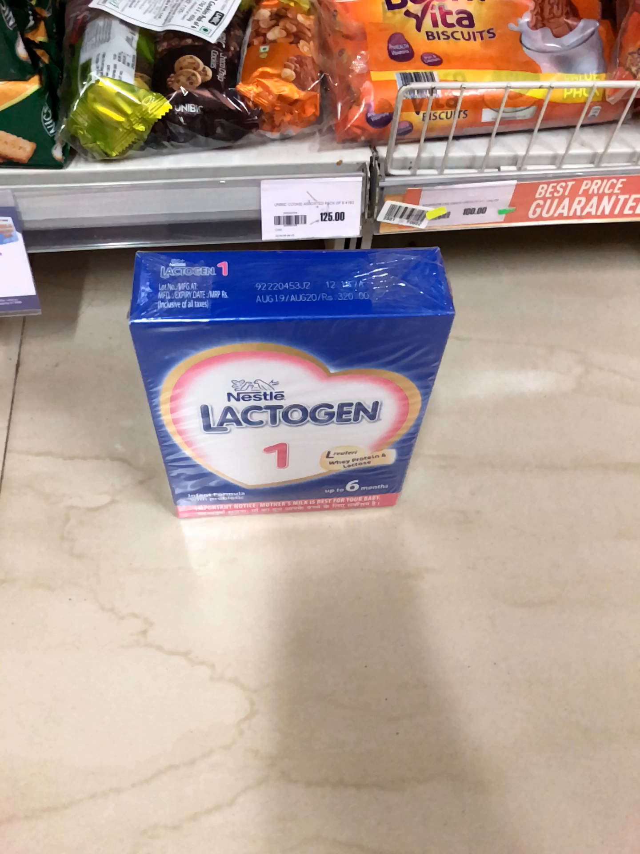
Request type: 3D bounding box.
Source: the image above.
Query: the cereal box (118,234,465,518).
[{"bbox_3d":[-0.018,-0.017,0.399,0.150,0.189,0.050,-3,57,-6],"label":"cereal box"}]
